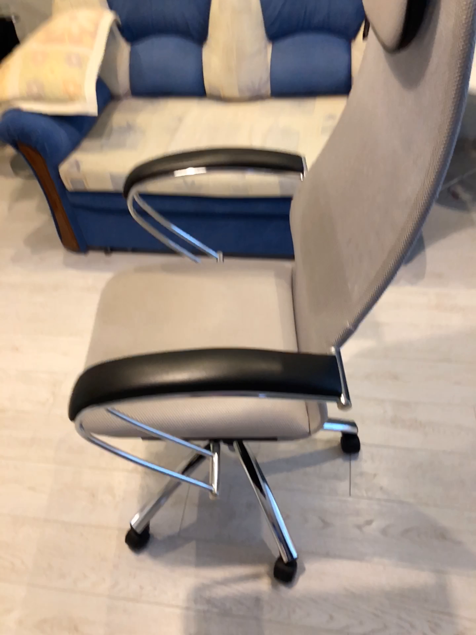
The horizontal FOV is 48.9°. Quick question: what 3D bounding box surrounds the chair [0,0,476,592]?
[{"bbox_3d":[-0.067,-0.081,0.958,0.690,1.152,0.685,1,47,8],"label":"chair"}]
